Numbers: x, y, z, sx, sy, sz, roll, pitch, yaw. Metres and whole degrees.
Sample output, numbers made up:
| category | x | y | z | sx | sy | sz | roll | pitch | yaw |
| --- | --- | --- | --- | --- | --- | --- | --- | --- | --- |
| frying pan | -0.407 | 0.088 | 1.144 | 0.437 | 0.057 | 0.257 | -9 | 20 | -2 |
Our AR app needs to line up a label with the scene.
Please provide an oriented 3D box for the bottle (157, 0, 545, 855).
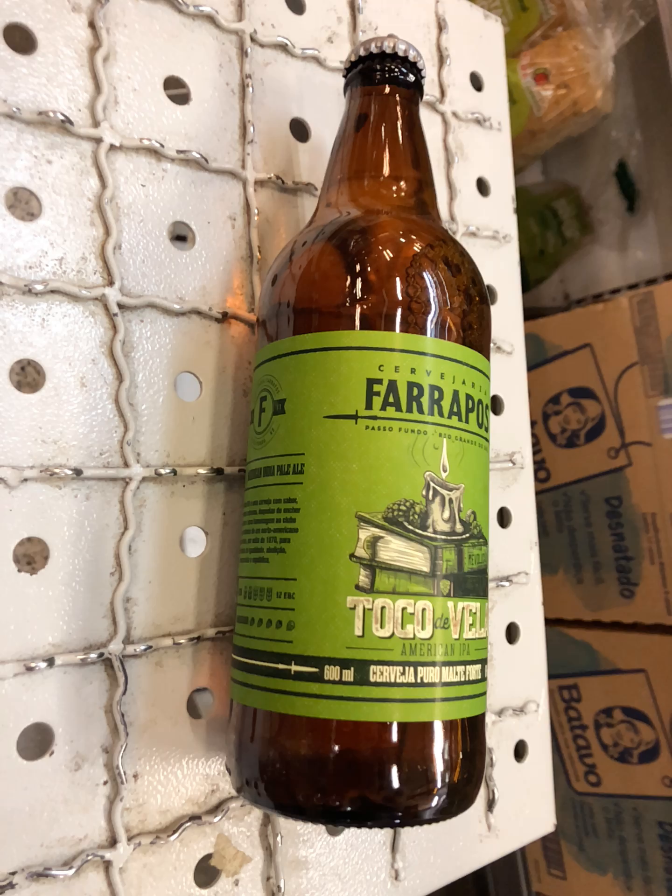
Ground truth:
| category | x | y | z | sx | sy | sz | roll | pitch | yaw |
| --- | --- | --- | --- | --- | --- | --- | --- | --- | --- |
| bottle | 0.010 | -0.031 | 0.235 | 0.080 | 0.070 | 0.260 | 12 | 78 | -40 |
